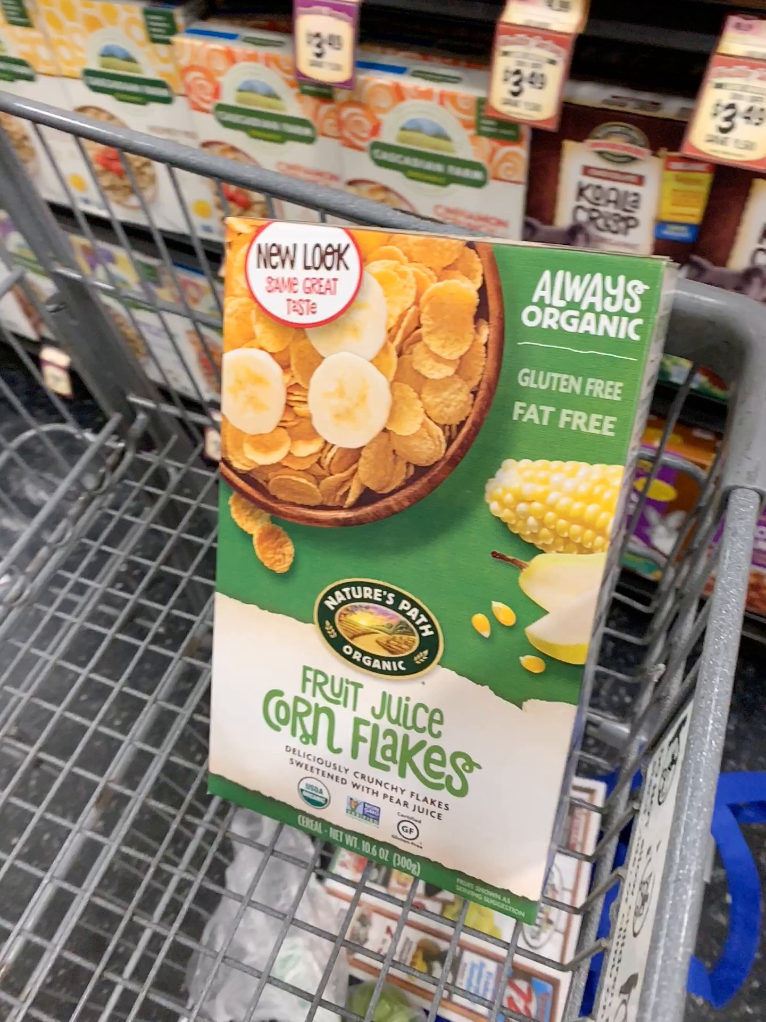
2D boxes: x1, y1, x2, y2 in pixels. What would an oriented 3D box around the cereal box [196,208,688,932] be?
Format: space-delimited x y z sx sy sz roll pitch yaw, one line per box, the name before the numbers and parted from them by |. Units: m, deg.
cereal box | 0.011 0.018 0.320 0.160 0.250 0.060 13 20 22
